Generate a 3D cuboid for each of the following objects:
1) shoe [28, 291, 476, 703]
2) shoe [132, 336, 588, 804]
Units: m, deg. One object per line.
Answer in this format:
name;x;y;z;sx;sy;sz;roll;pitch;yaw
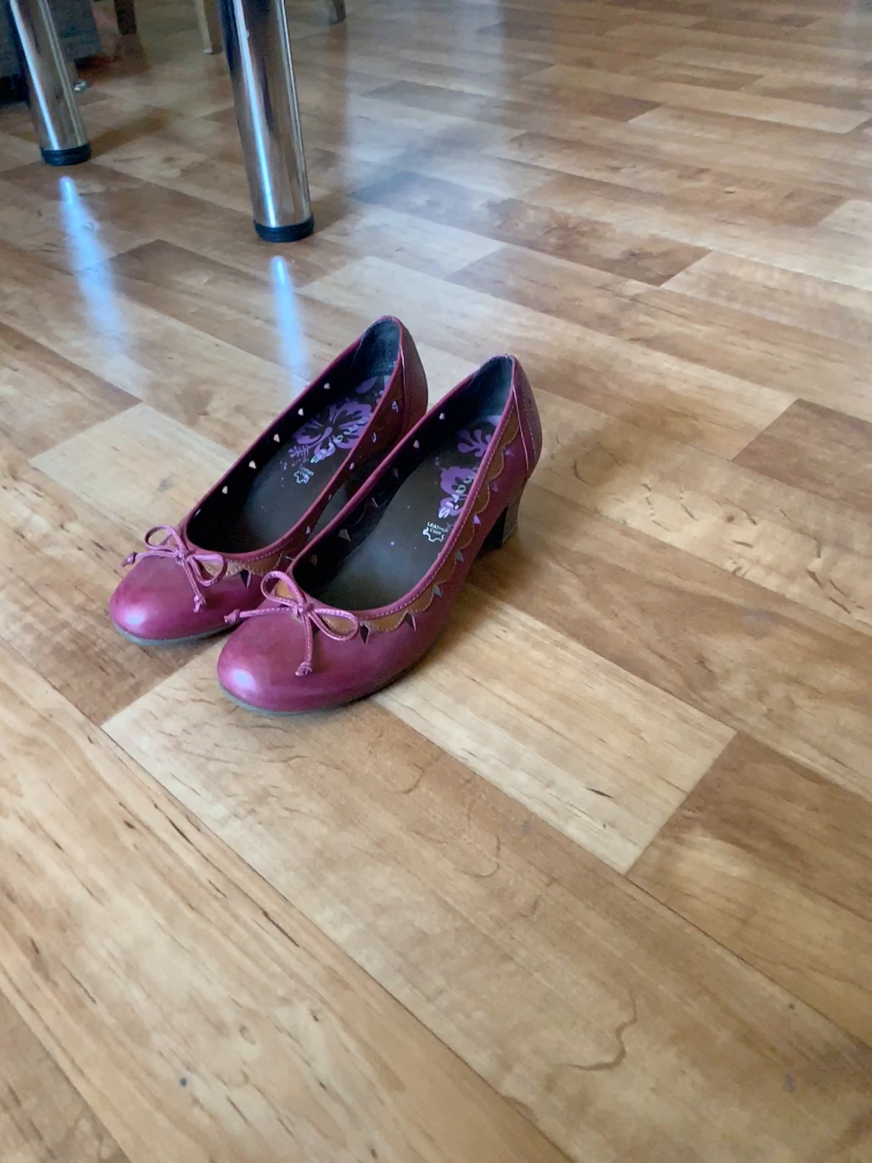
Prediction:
shoe;-0.086;-0.061;0.516;0.090;0.109;0.241;27;50;29
shoe;-0.022;-0.020;0.474;0.090;0.109;0.241;25;49;28
